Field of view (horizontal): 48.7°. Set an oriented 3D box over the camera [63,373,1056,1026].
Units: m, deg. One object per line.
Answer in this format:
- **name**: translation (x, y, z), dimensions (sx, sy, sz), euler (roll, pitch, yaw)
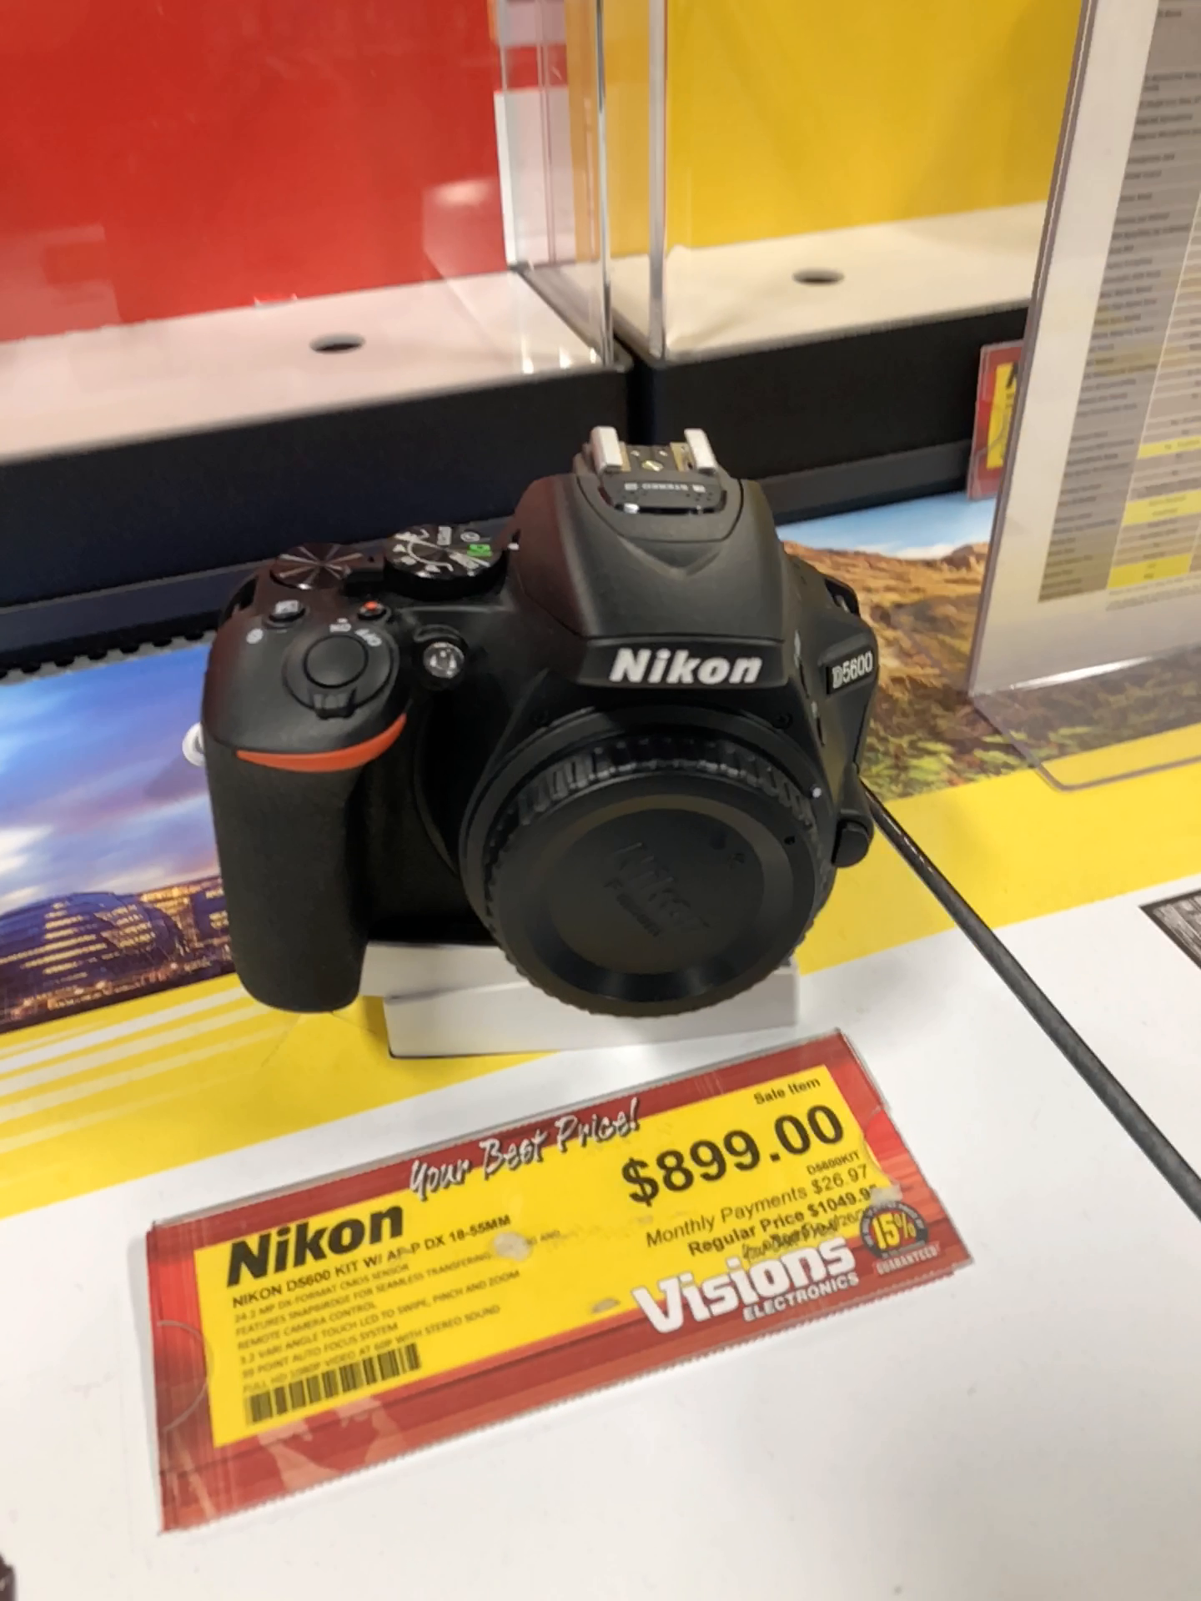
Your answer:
- **camera**: translation (-0.008, -0.021, 0.246), dimensions (0.140, 0.089, 0.080), euler (0, 35, -4)
